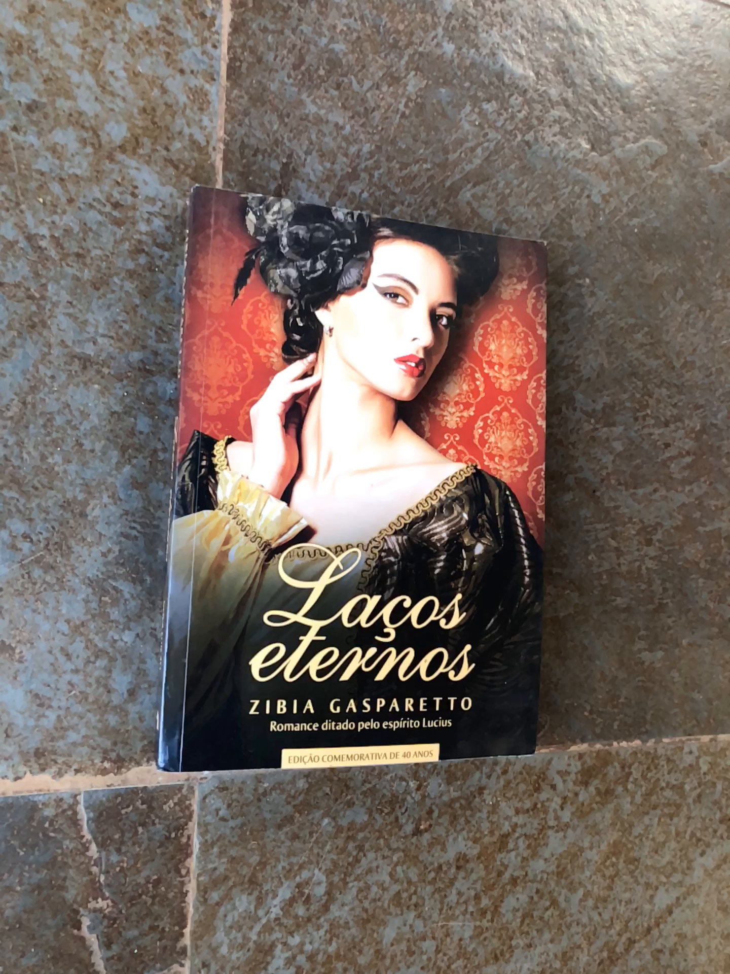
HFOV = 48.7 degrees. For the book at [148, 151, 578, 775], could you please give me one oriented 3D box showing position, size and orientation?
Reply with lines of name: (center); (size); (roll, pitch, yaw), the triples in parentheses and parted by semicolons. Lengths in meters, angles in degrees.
book: (0.005, -0.006, 0.300); (0.154, 0.027, 0.204); (4, 83, -19)
